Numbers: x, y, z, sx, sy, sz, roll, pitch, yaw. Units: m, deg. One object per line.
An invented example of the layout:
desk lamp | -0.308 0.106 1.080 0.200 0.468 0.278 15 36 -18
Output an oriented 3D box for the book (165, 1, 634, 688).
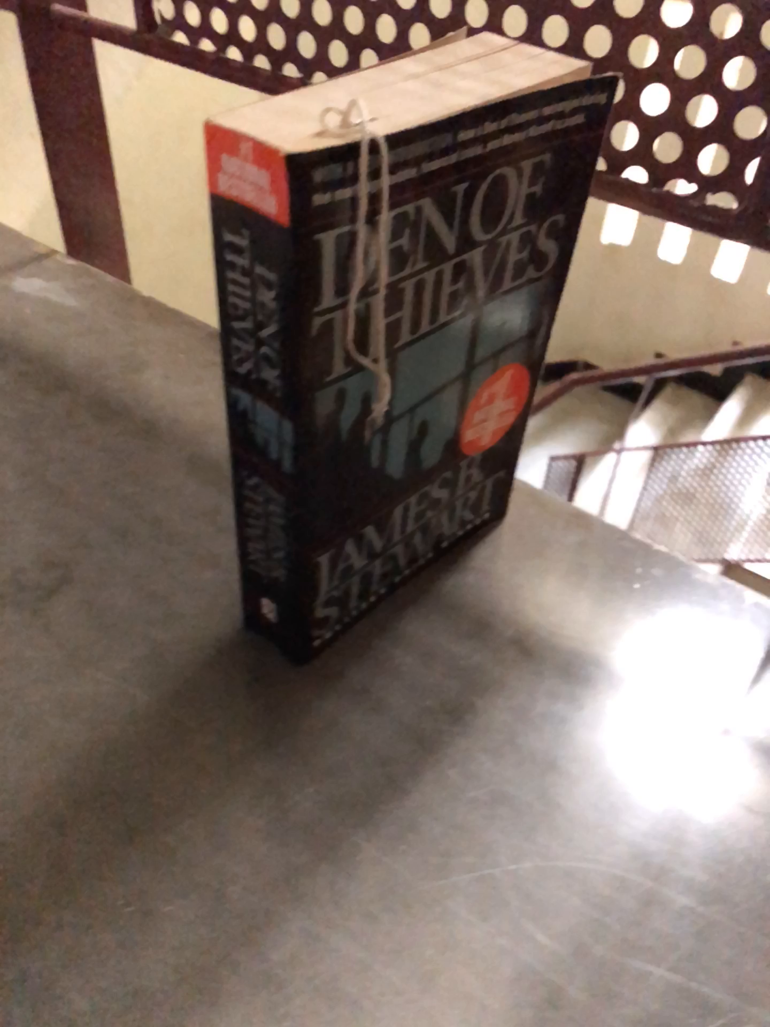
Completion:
book | 0.009 -0.063 0.342 0.050 0.219 0.171 31 49 27
